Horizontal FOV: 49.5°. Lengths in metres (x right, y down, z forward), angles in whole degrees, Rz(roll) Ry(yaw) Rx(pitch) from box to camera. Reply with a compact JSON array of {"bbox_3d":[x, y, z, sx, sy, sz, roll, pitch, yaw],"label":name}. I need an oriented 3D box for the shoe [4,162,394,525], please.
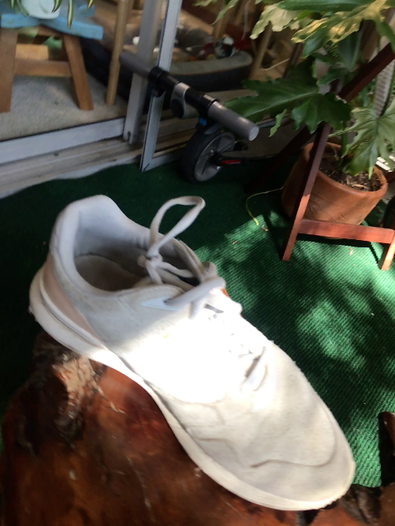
[{"bbox_3d":[0.000,0.049,0.293,0.263,0.090,0.103,36,44,17],"label":"shoe"}]
